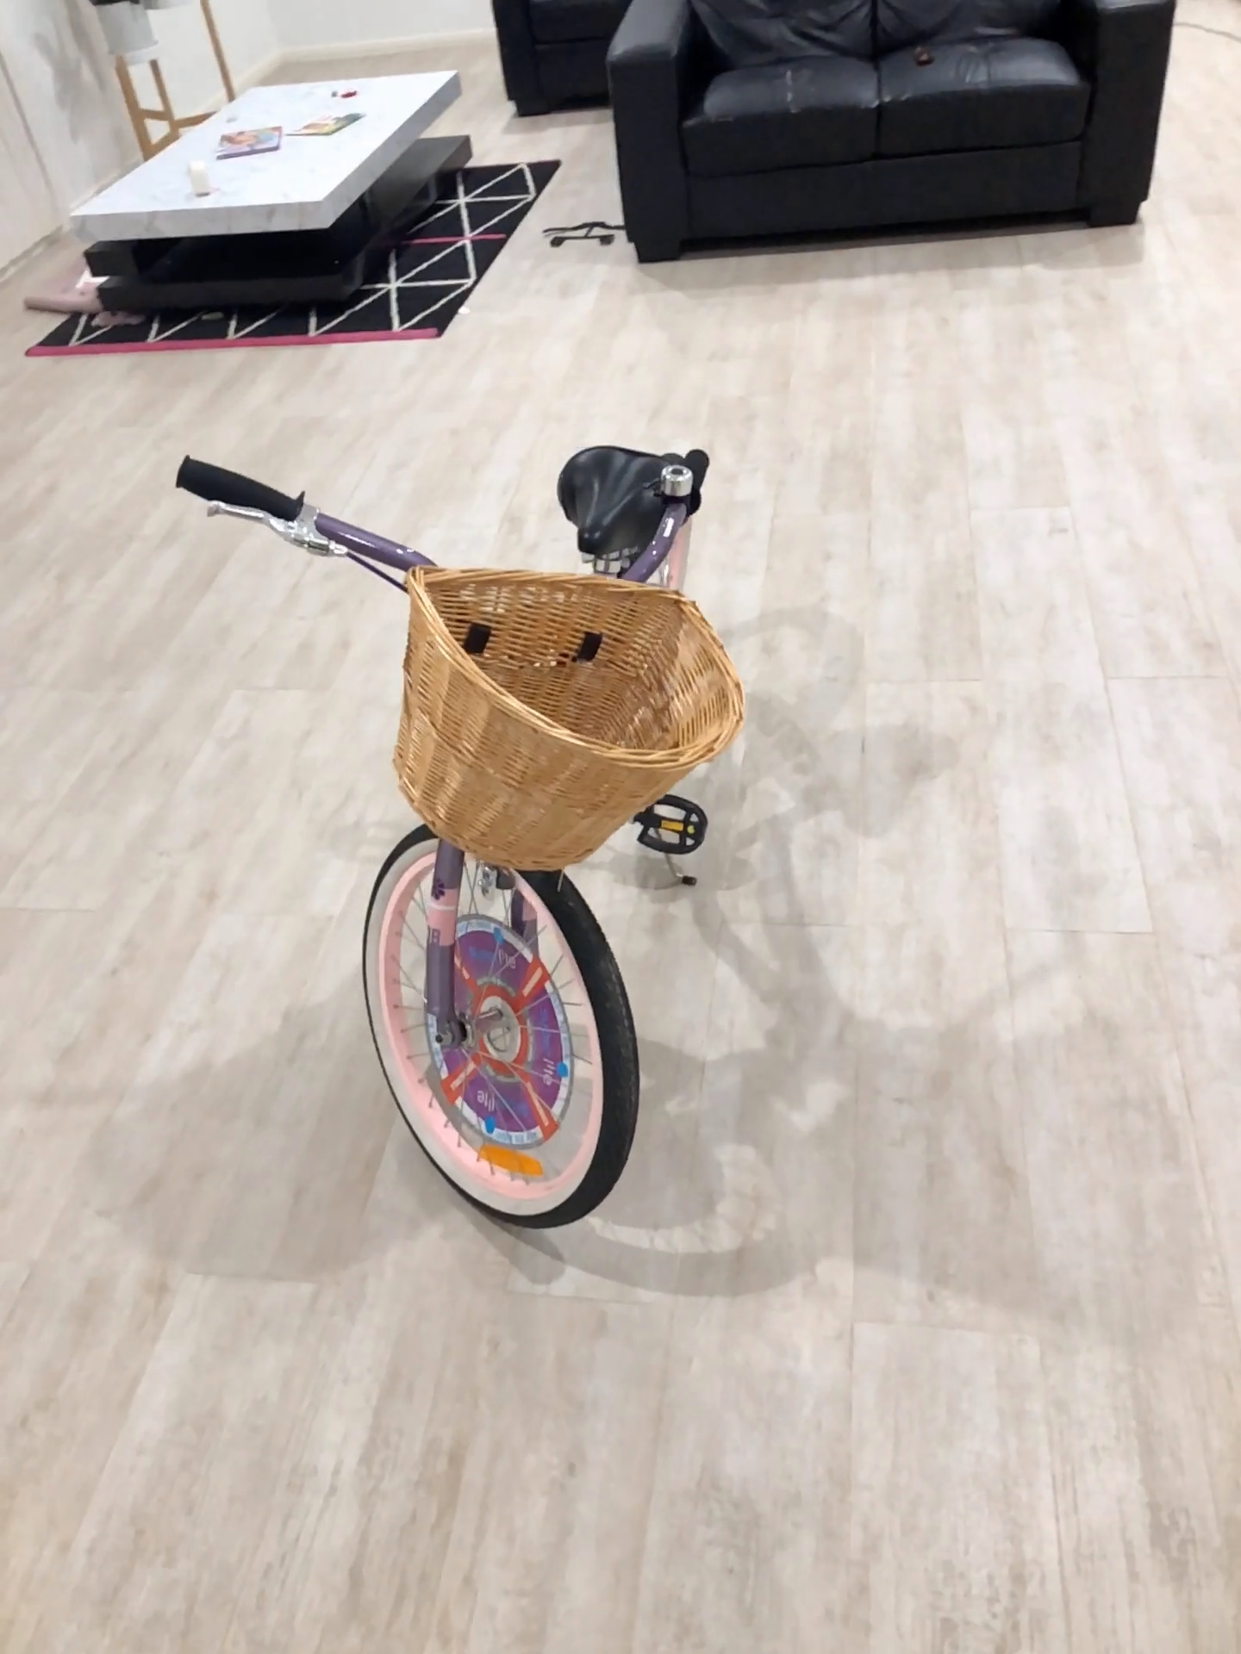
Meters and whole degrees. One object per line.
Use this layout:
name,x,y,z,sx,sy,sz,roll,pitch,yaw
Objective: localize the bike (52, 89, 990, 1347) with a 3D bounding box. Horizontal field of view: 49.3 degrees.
bike,0.008,-0.190,1.734,0.747,0.877,1.222,-1,46,10
